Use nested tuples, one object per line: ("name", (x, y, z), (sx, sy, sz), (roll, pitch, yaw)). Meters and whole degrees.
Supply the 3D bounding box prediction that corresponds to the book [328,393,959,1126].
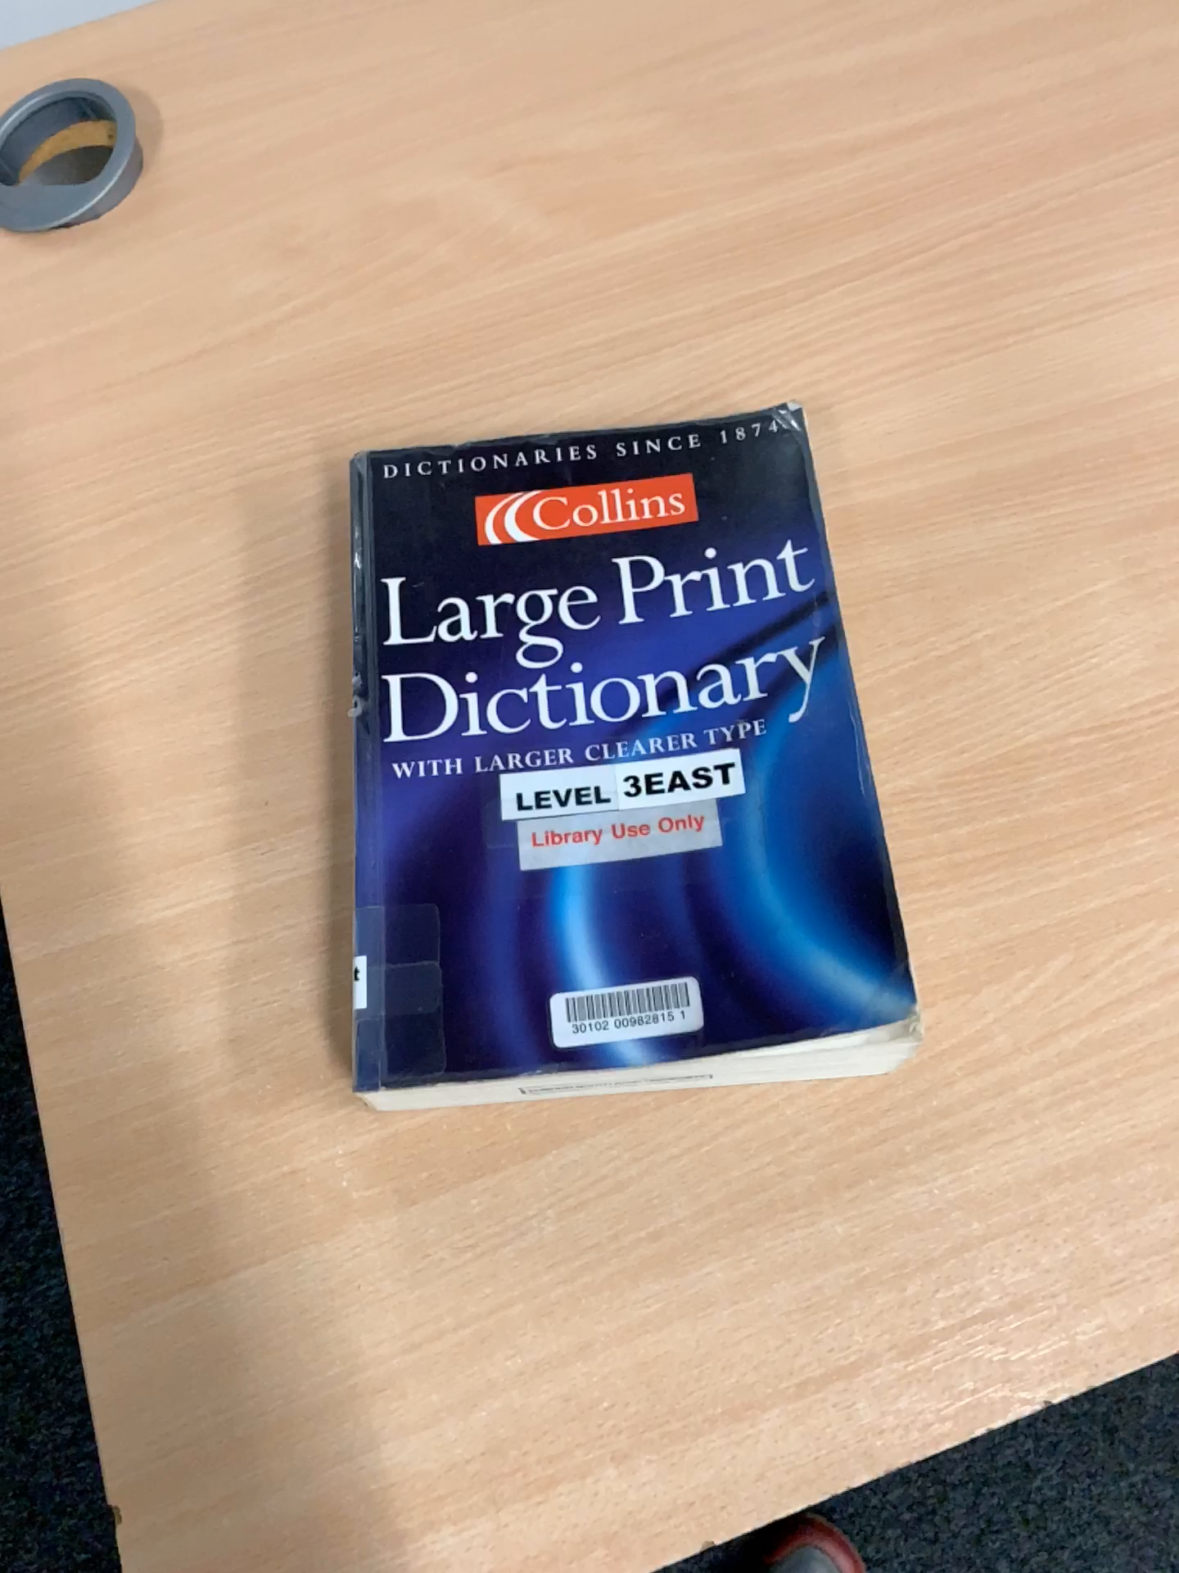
("book", (0.007, -0.016, 0.428), (0.188, 0.050, 0.243), (-6, 67, 2))
